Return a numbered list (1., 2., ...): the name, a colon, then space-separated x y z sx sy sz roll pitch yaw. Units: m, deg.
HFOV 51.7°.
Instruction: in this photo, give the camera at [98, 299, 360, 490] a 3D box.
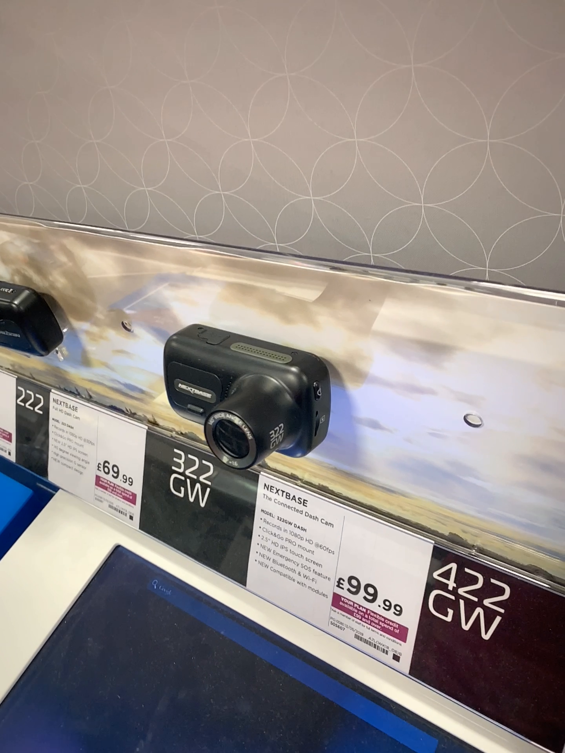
1. camera: -0.023 0.001 0.261 0.090 0.040 0.070 17 31 35
